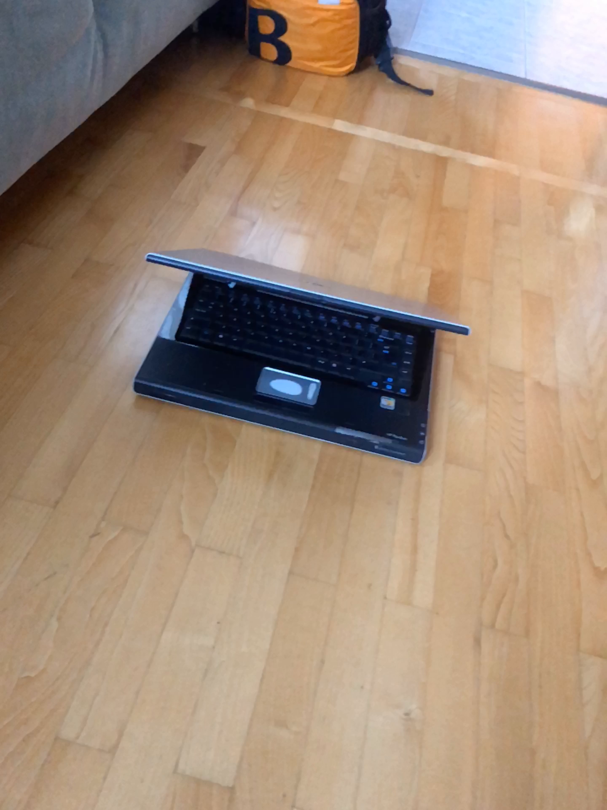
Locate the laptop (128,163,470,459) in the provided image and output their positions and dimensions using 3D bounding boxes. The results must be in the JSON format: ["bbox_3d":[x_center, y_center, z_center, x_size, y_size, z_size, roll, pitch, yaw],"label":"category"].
[{"bbox_3d":[0.005,-0.127,0.845,0.361,0.147,0.270,14,48,1],"label":"laptop"}]
